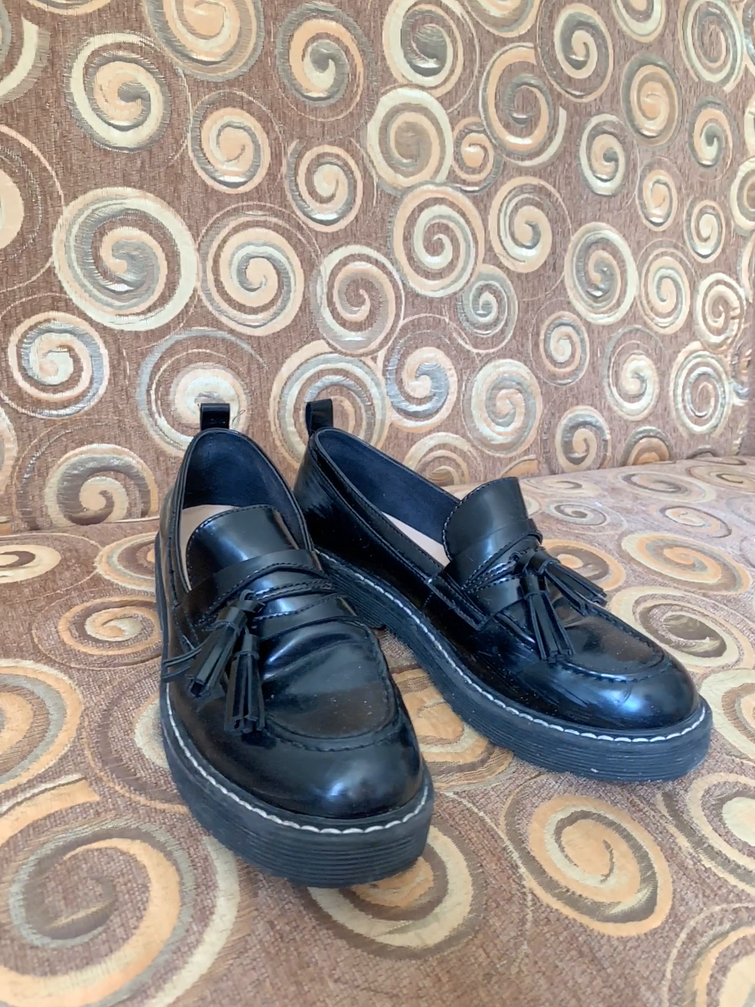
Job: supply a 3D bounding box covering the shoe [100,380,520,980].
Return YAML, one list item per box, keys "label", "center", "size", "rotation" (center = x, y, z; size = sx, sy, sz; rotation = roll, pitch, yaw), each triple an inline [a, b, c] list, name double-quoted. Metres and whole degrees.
- label: "shoe"
  center: [-0.054, 0.037, 0.321]
  size: [0.090, 0.099, 0.241]
  rotation: [-4, 29, -24]

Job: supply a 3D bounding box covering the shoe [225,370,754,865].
- label: "shoe"
  center: [0.040, 0.028, 0.361]
  size: [0.241, 0.099, 0.090]
  rotation: [30, 33, 36]
